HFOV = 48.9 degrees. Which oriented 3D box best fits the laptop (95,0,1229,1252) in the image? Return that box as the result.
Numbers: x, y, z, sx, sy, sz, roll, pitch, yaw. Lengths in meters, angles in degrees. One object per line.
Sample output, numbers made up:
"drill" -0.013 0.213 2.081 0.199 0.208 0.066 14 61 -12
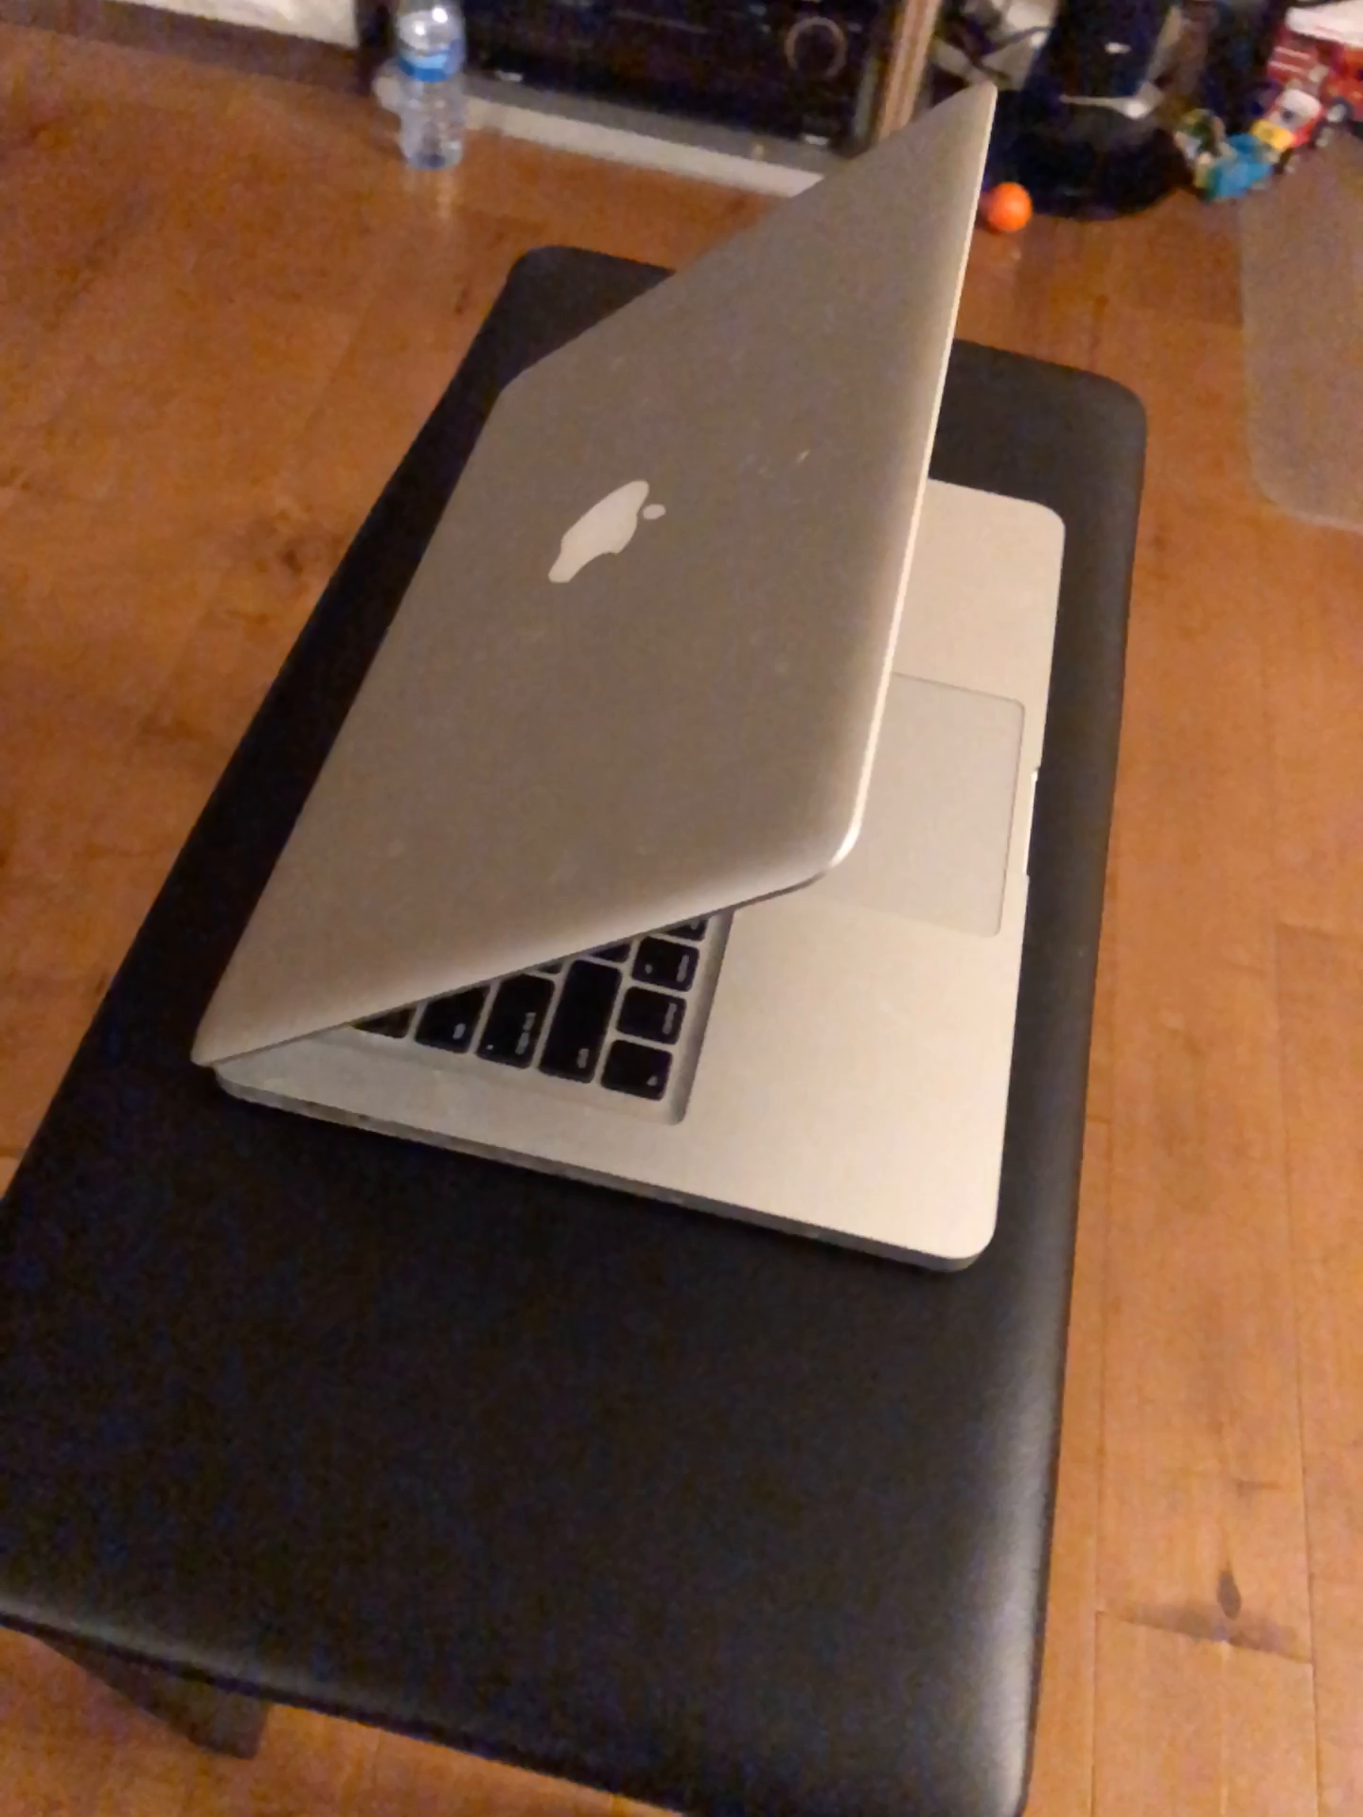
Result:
"laptop" 0.017 -0.097 0.436 0.208 0.144 0.311 15 58 3
